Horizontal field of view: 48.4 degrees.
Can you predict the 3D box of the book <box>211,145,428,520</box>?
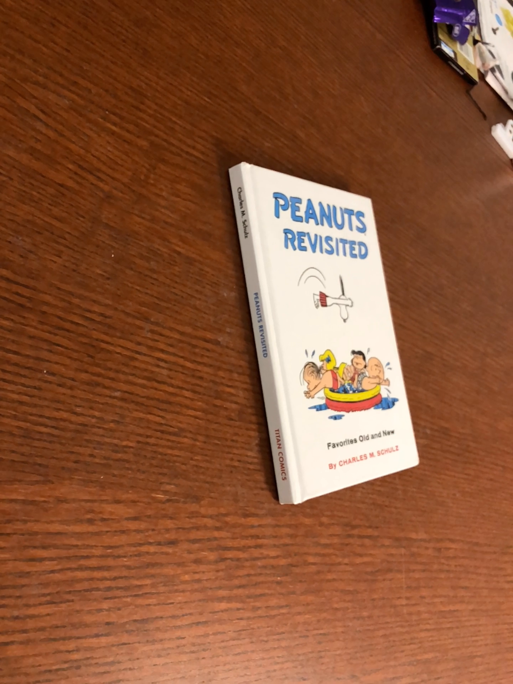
[{"bbox_3d":[0.048,-0.009,0.387,0.151,0.020,0.220,-1,79,-44],"label":"book"}]
